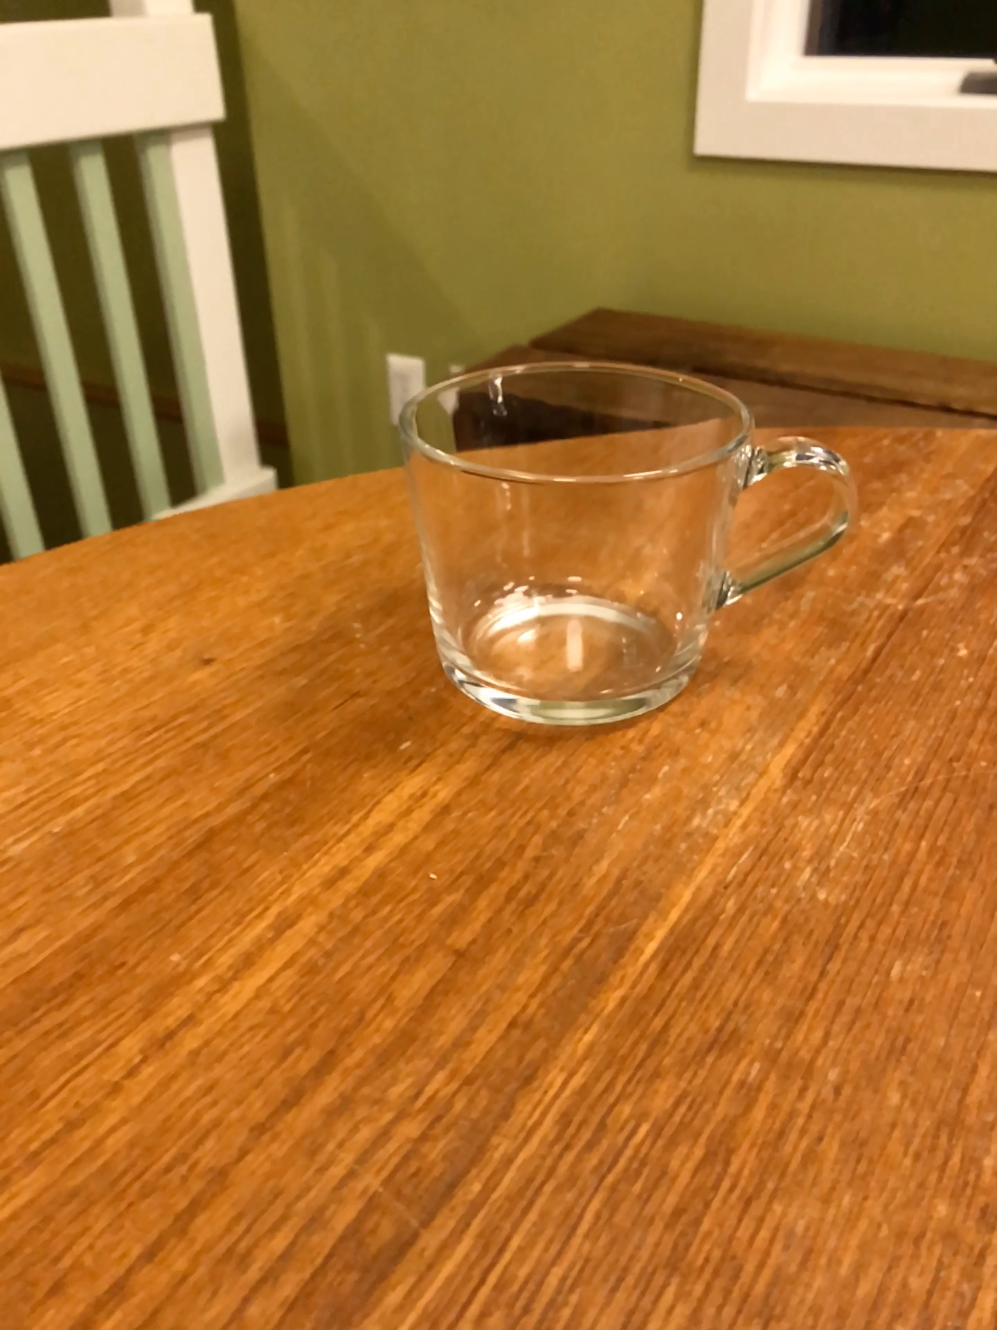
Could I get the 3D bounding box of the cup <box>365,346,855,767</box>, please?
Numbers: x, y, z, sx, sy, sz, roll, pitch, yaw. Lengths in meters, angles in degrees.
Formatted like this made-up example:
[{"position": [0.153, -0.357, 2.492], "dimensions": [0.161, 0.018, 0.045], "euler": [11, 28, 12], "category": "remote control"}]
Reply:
[{"position": [0.033, -0.038, 0.338], "dimensions": [0.120, 0.089, 0.101], "euler": [2, 31, 6], "category": "cup"}]
